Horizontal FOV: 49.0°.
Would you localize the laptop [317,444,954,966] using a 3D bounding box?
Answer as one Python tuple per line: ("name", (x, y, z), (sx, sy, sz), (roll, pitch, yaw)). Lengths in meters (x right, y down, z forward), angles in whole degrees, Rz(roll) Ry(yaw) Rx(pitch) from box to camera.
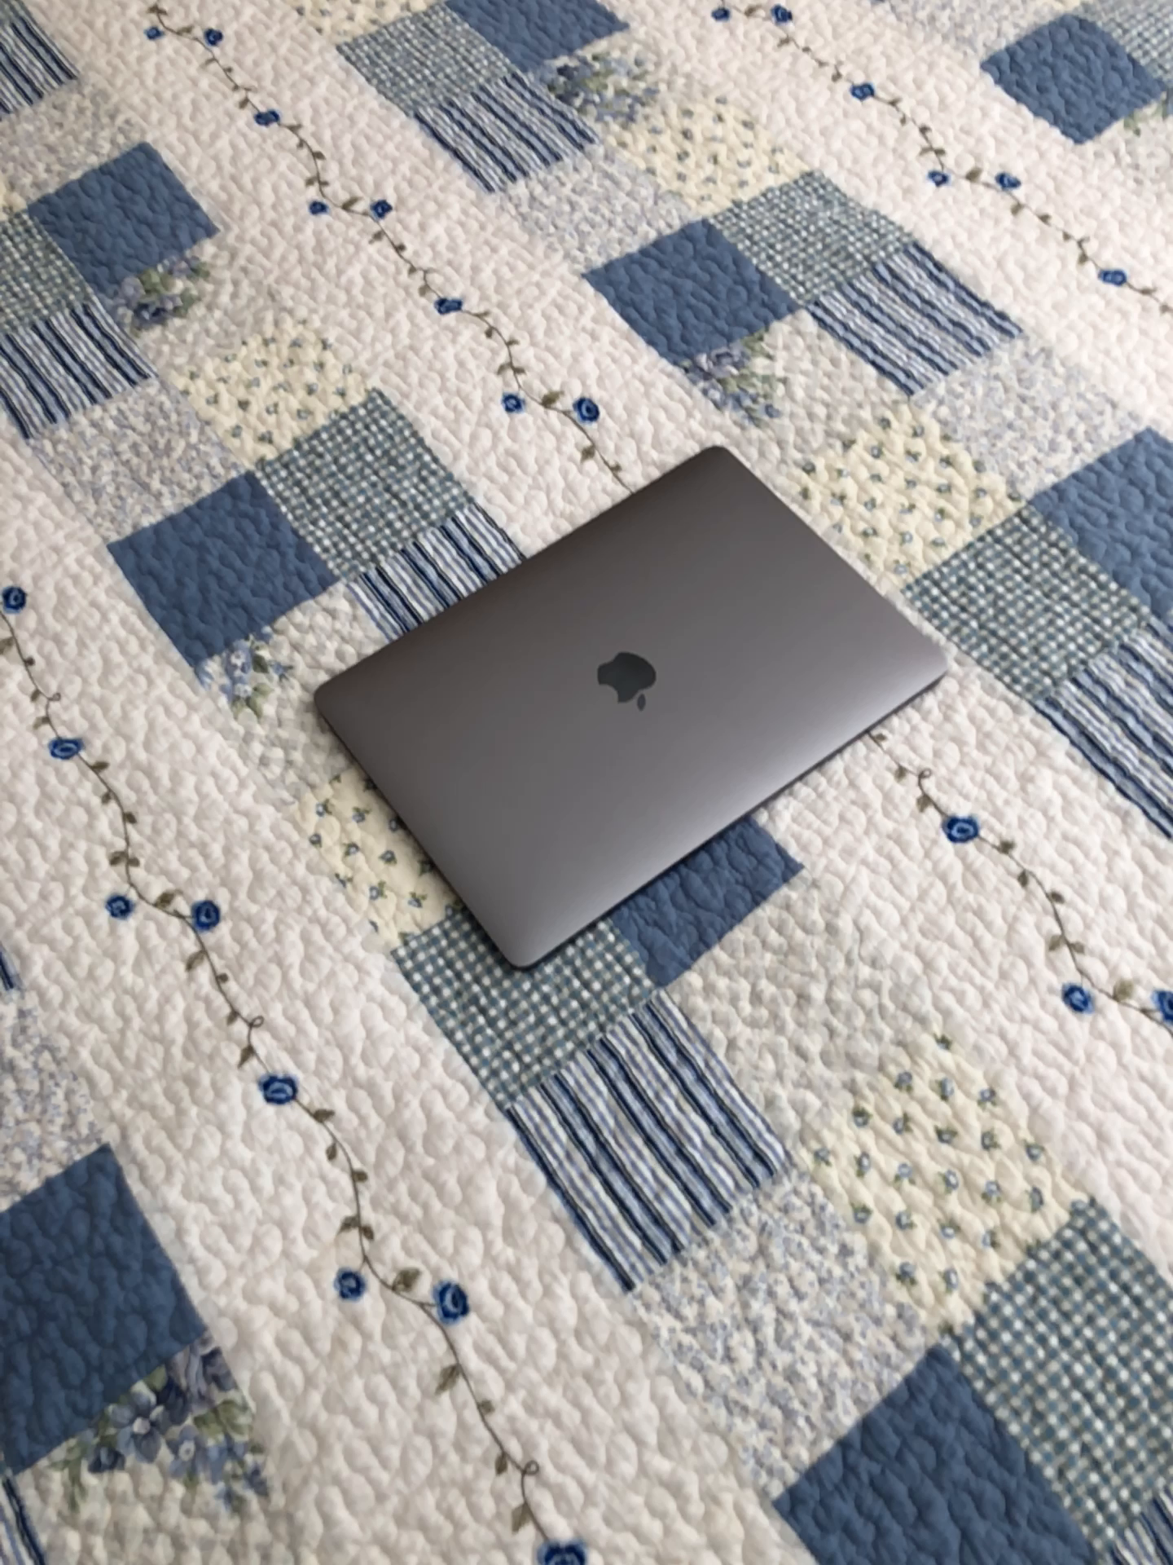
("laptop", (0.026, -0.058, 0.715), (0.290, 0.005, 0.202), (-34, 65, -15))
